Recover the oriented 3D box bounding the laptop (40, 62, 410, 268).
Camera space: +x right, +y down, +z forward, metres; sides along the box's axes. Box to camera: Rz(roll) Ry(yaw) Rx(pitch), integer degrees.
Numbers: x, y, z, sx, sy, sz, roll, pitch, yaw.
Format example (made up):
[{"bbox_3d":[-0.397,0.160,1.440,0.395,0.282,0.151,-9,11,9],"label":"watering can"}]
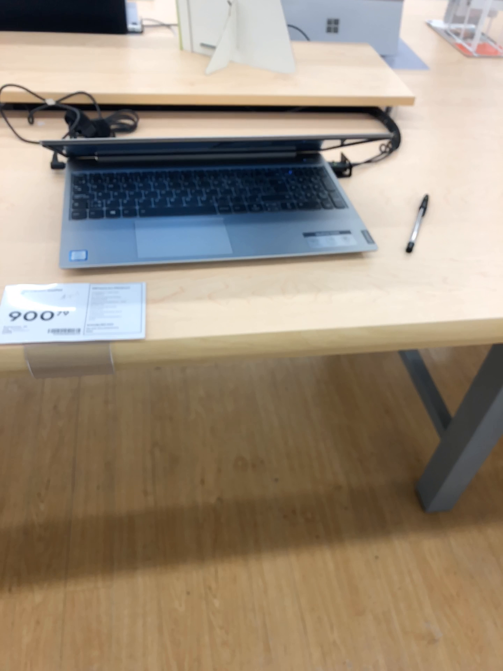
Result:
[{"bbox_3d":[-0.044,-0.209,0.646,0.351,0.122,0.235,-5,45,-11],"label":"laptop"}]
